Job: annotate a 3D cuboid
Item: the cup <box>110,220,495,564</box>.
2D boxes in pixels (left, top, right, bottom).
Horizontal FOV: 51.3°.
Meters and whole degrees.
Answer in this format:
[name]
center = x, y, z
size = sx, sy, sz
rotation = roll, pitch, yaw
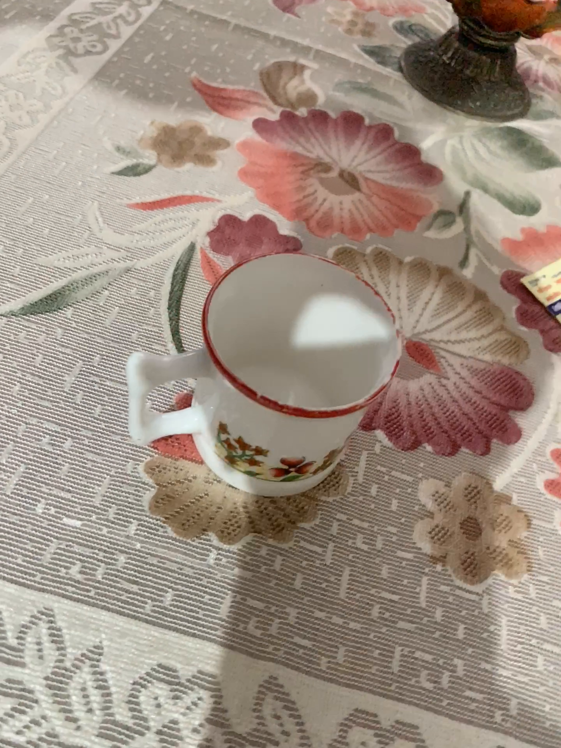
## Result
[cup]
center = 0.000, 0.006, 0.209
size = 0.100, 0.080, 0.070
rotation = -14, 60, -22
